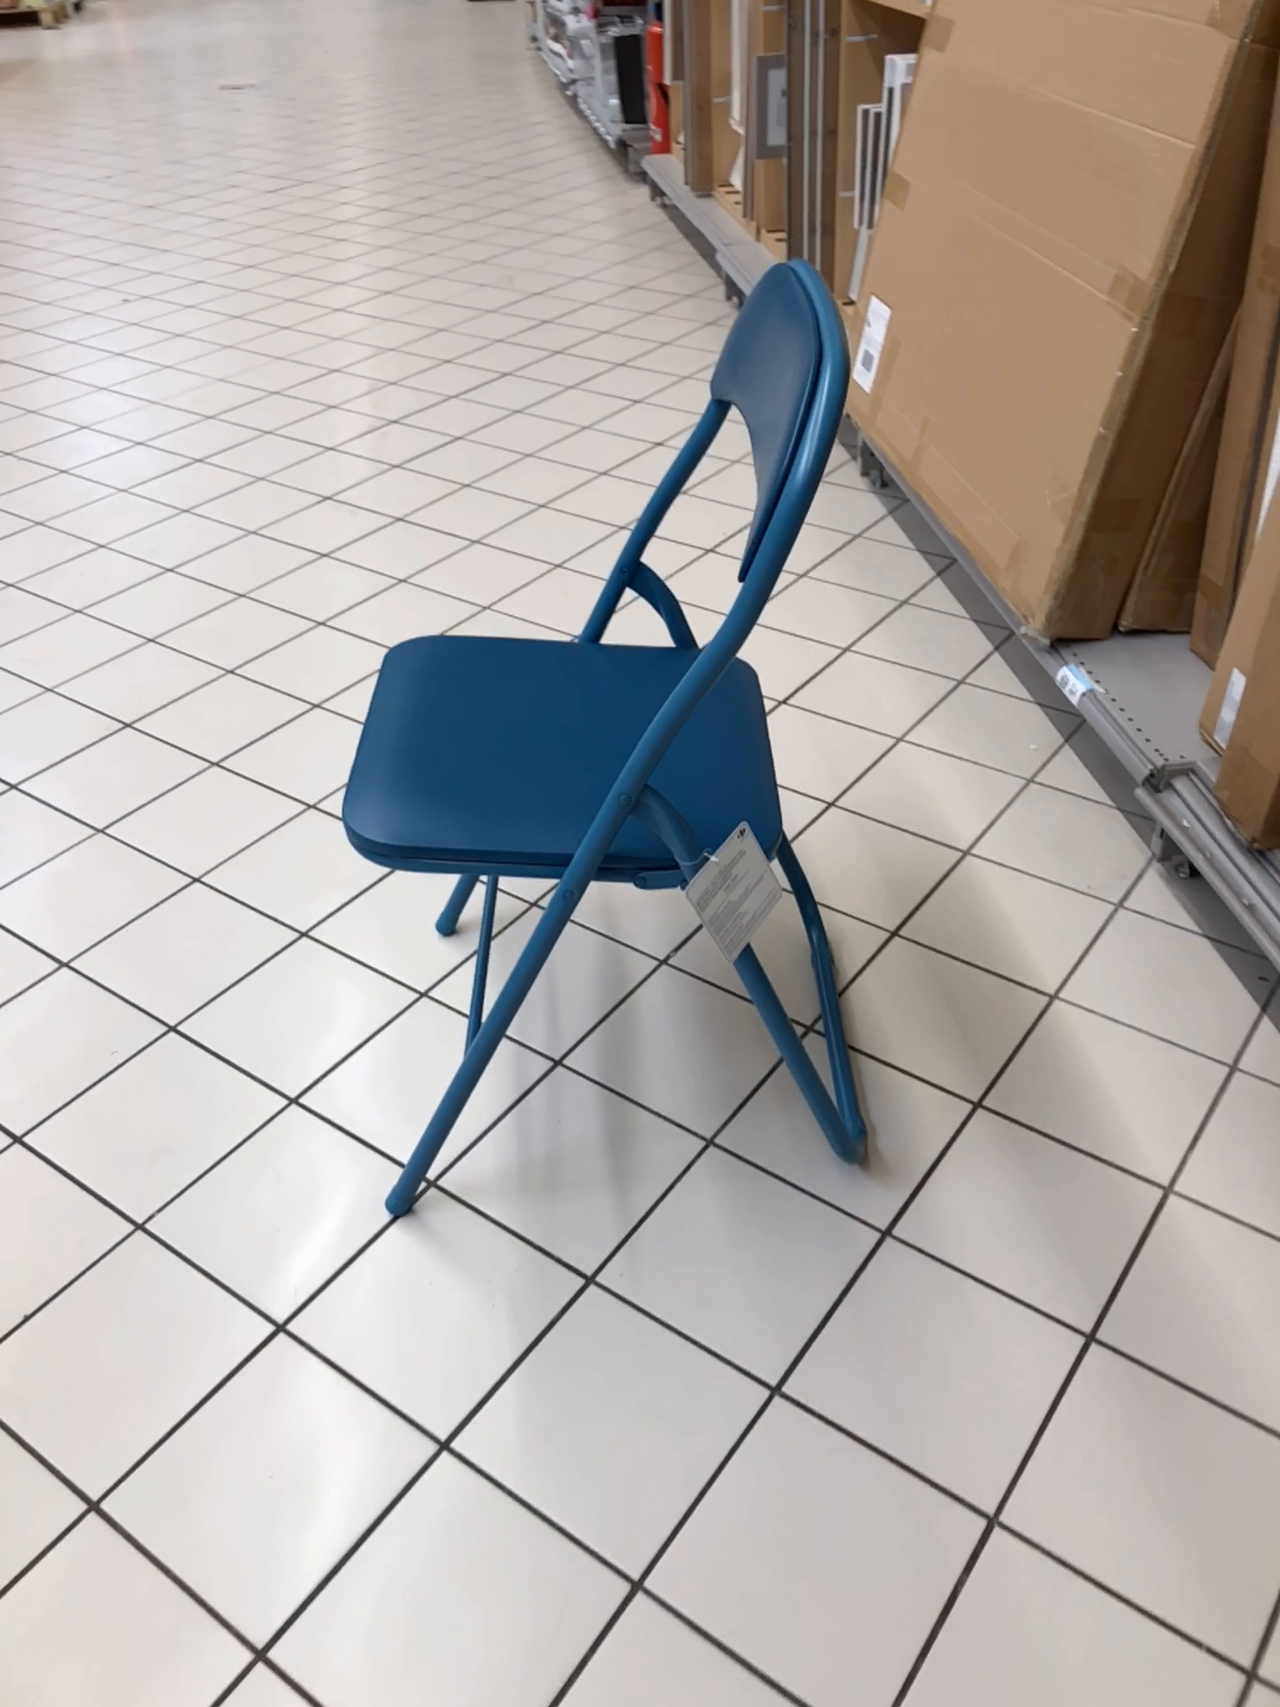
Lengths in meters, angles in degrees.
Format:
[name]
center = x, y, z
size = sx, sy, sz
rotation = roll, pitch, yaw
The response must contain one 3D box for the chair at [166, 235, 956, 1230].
[chair]
center = -0.031, -0.109, 1.306
size = 0.500, 0.765, 0.503
rotation = 0, 35, 3
